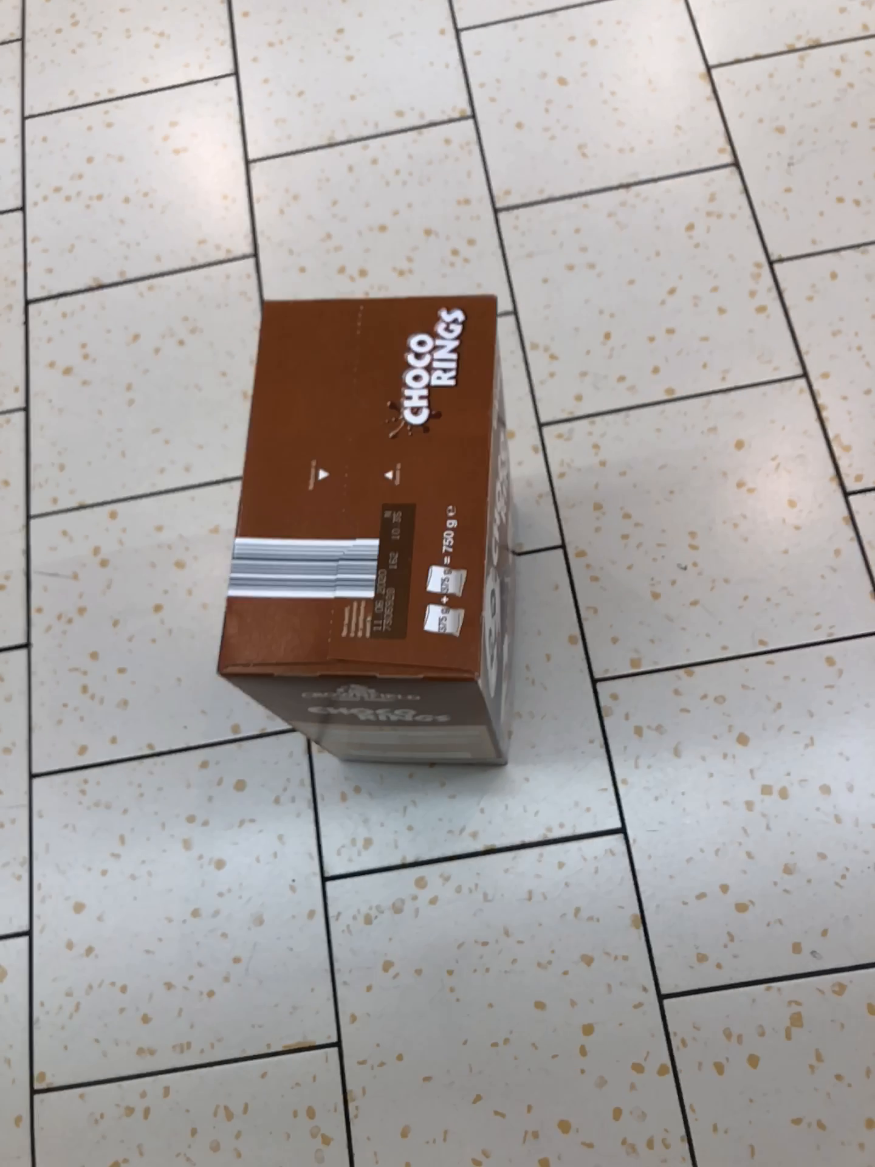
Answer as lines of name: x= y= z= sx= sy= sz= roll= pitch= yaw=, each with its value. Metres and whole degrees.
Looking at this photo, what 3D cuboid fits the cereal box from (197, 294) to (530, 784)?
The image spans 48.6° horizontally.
cereal box: x=-0.018 y=-0.006 z=0.559 sx=0.130 sy=0.249 sz=0.200 roll=2 pitch=71 yaw=7
